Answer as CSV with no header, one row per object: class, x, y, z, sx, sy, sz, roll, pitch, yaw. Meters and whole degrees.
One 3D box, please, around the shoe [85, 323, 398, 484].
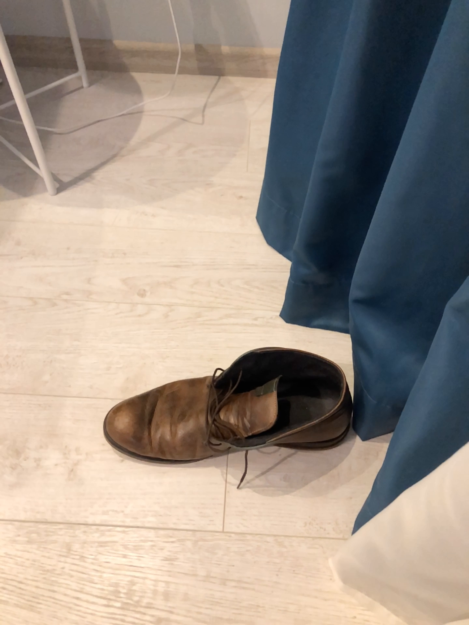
shoe,0.005,0.114,0.627,0.320,0.159,0.131,-1,54,-3
